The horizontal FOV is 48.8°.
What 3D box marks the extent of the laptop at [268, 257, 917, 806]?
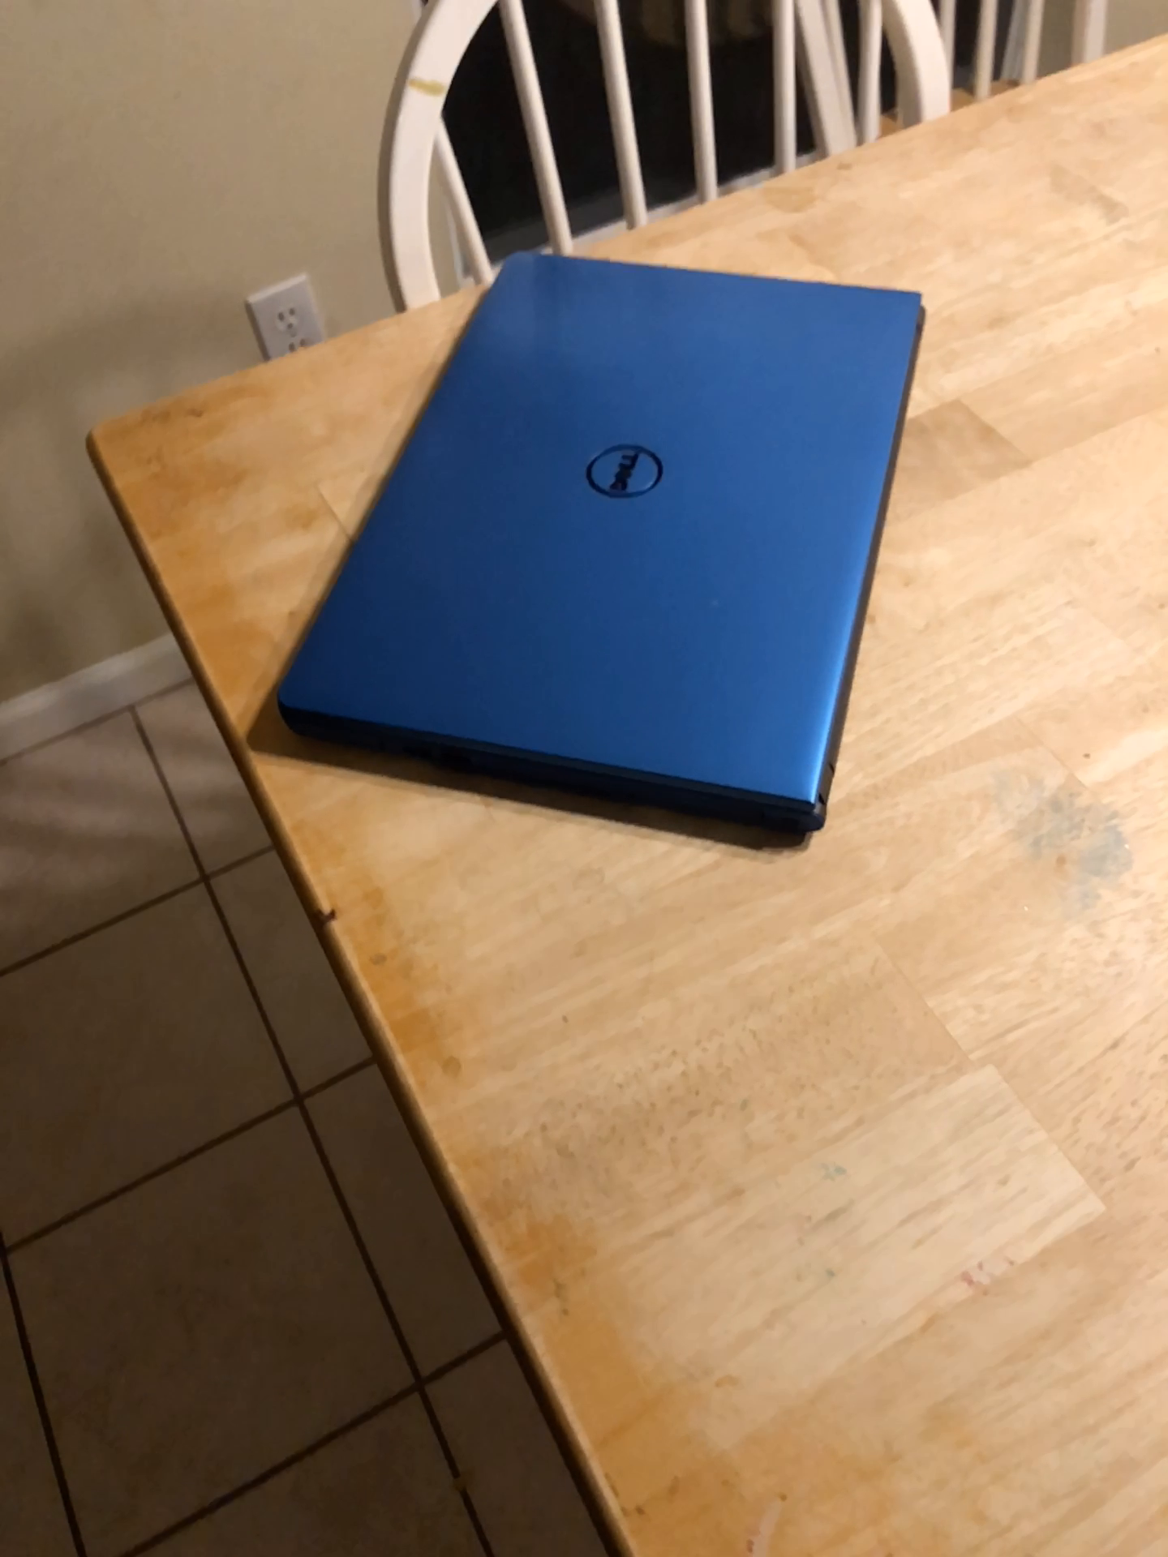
[{"bbox_3d":[0.025,-0.163,0.698,0.259,0.001,0.390,10,55,13],"label":"laptop"}]
